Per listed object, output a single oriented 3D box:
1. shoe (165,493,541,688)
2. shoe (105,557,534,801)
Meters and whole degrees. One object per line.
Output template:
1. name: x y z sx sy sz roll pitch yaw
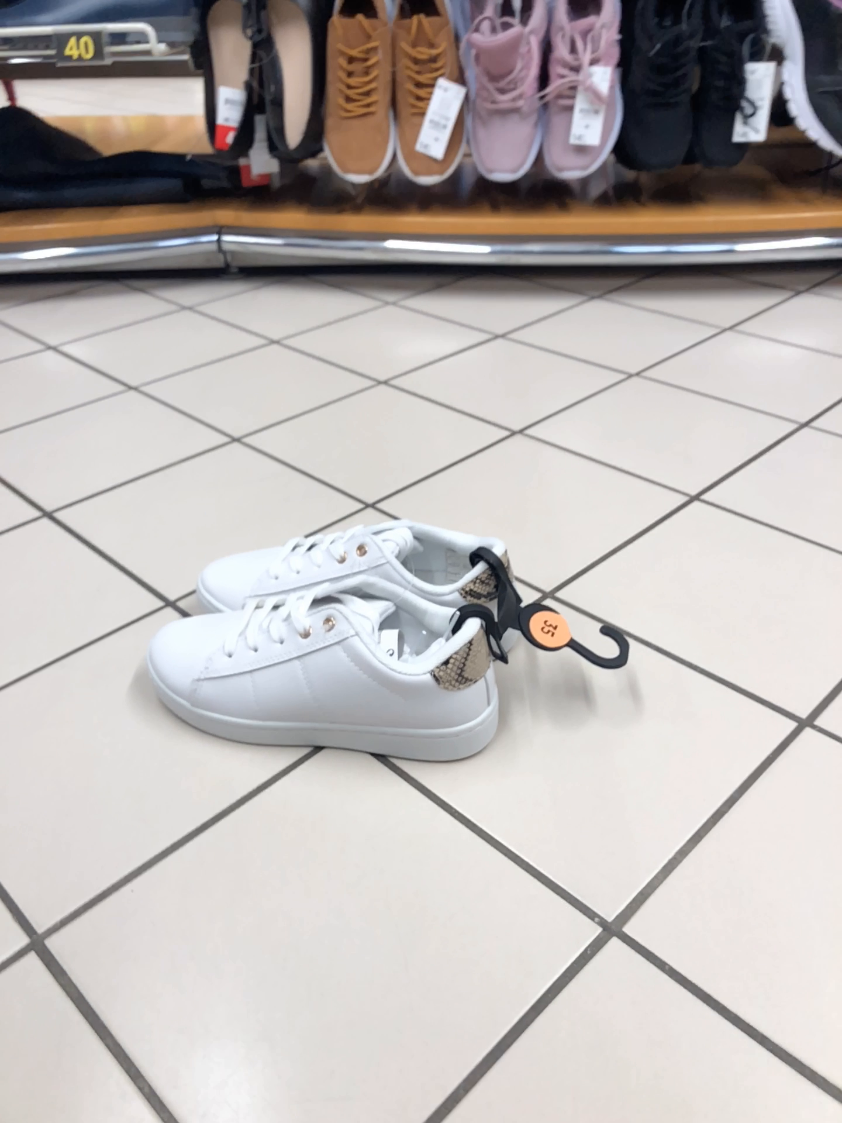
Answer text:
1. shoe: -0.041 0.017 0.652 0.240 0.080 0.091 4 33 10
2. shoe: -0.057 0.068 0.578 0.240 0.080 0.091 6 34 12
